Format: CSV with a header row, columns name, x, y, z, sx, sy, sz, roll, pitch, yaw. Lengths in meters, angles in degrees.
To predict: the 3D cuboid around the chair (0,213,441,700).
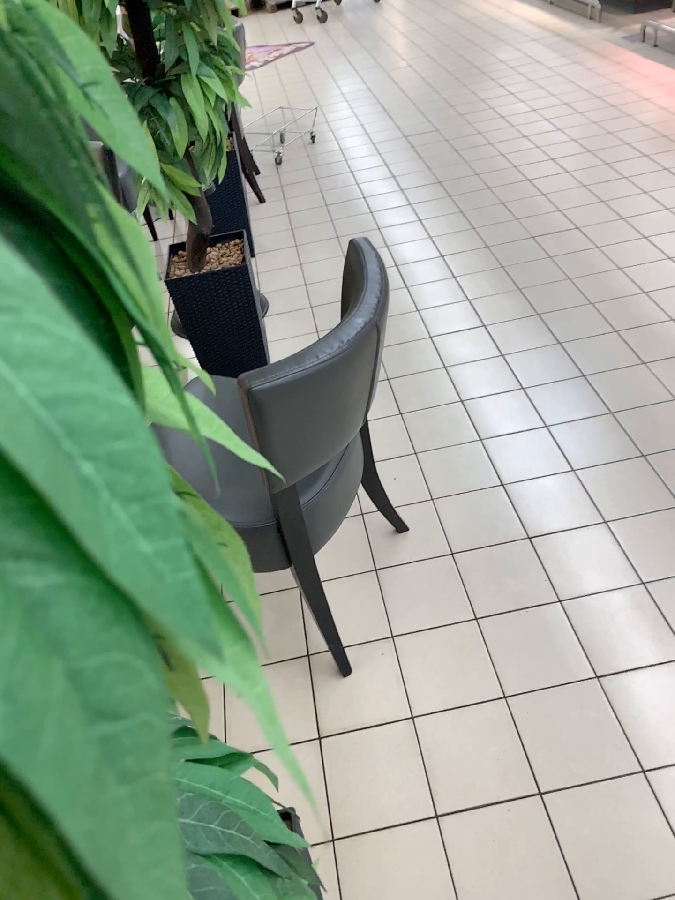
name,x,y,z,sx,sy,sz,roll,pitch,yaw
chair,-0.184,-0.004,1.479,0.641,0.796,0.552,9,44,22
